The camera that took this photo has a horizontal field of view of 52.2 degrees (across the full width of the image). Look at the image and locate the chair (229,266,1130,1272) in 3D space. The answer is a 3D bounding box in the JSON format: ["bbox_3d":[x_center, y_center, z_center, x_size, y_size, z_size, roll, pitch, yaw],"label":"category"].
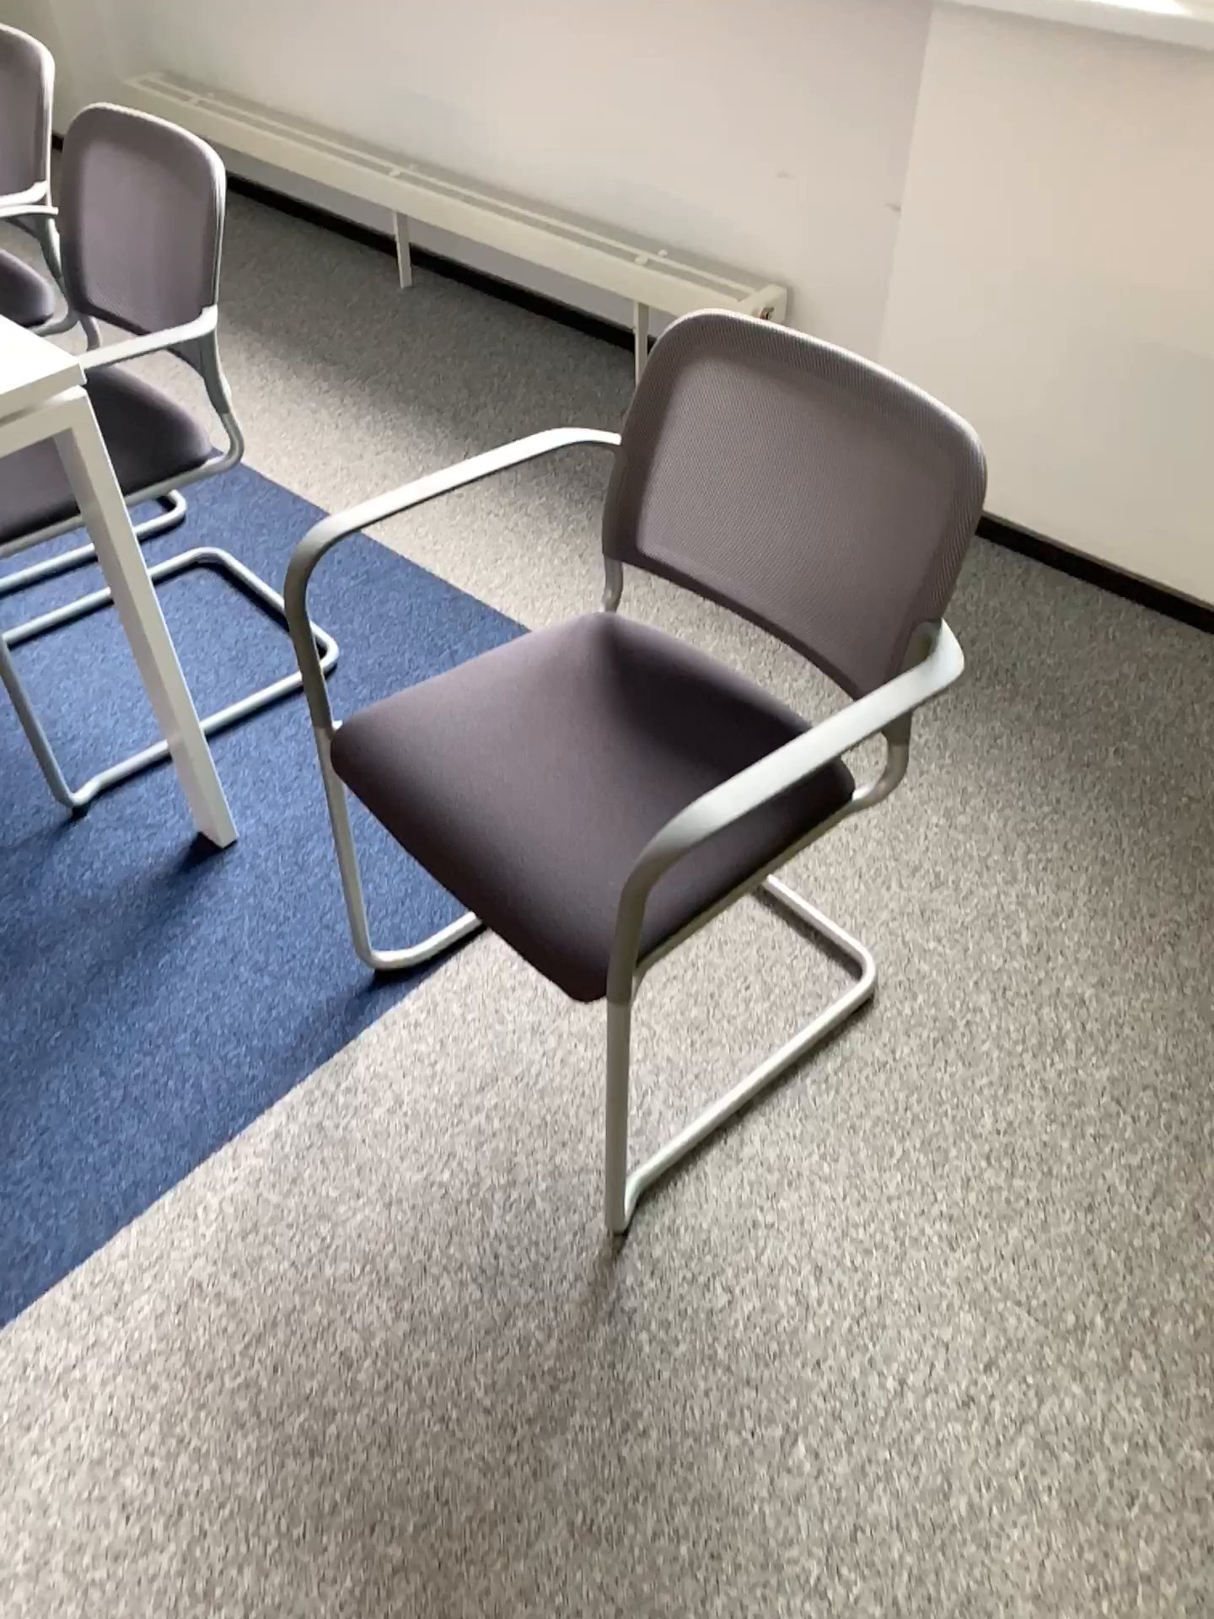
[{"bbox_3d":[0.051,-0.042,1.280,0.521,0.727,0.531,-31,53,-26],"label":"chair"}]
